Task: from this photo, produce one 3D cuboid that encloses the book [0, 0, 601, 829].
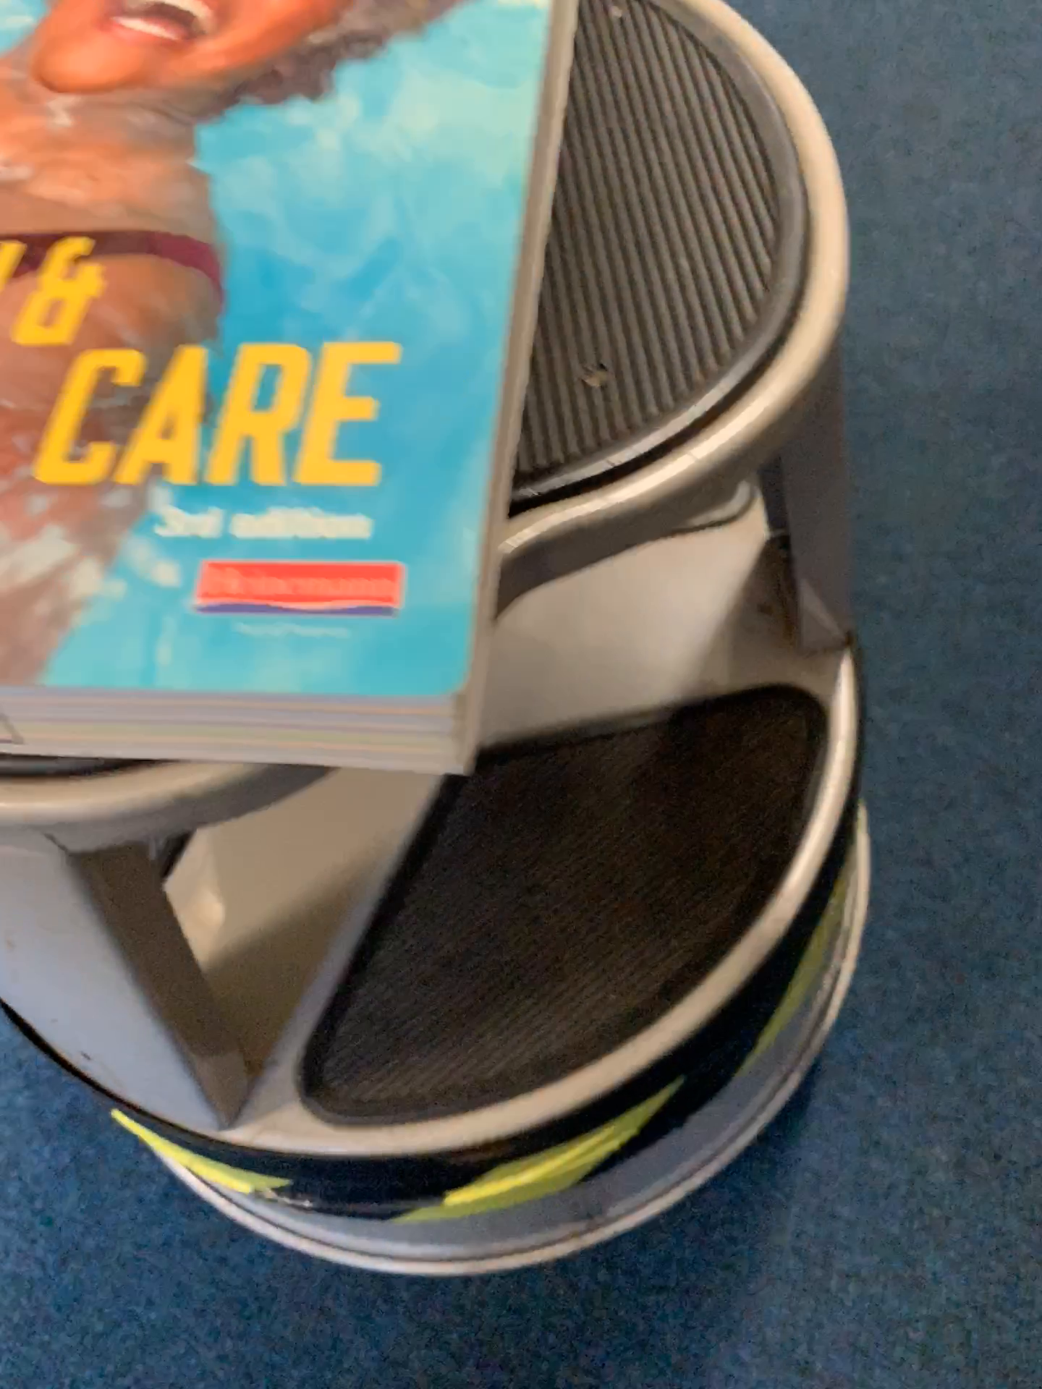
[{"bbox_3d":[-0.091,-0.107,0.227,0.200,0.030,0.272,1,60,9],"label":"book"}]
